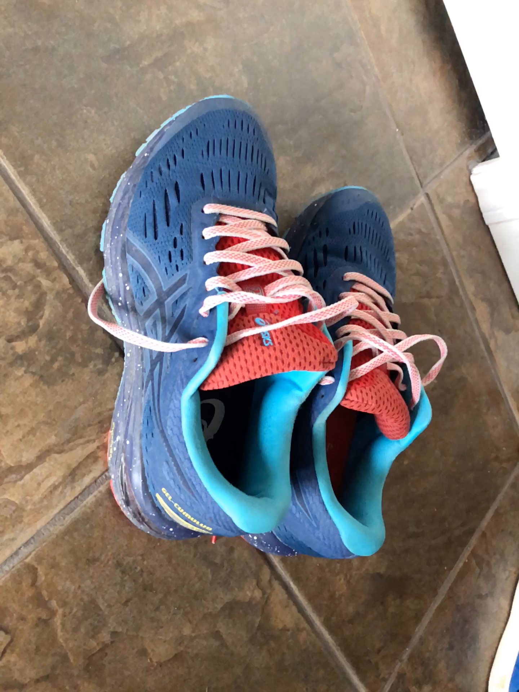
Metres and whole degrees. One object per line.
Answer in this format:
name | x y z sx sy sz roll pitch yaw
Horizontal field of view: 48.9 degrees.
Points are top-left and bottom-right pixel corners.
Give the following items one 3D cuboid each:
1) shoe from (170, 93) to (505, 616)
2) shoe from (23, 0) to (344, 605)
shoe | 0.058 0.010 0.402 0.120 0.130 0.300 20 78 -36
shoe | -0.049 -0.023 0.361 0.120 0.130 0.300 9 85 -37
